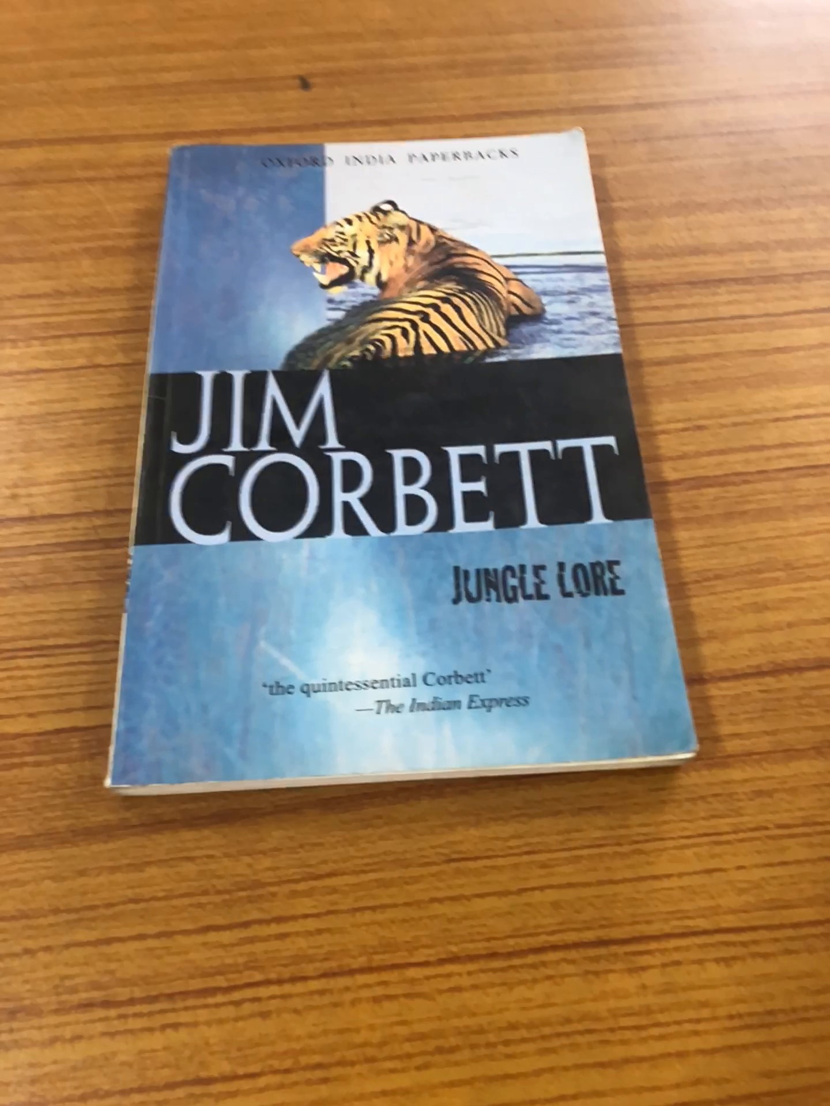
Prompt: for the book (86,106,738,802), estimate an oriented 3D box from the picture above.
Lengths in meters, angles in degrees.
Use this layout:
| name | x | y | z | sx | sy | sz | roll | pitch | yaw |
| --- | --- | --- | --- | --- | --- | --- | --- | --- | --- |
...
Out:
| name | x | y | z | sx | sy | sz | roll | pitch | yaw |
| --- | --- | --- | --- | --- | --- | --- | --- | --- | --- |
| book | -0.006 | -0.045 | 0.266 | 0.150 | 0.010 | 0.220 | -3 | 64 | -1 |
